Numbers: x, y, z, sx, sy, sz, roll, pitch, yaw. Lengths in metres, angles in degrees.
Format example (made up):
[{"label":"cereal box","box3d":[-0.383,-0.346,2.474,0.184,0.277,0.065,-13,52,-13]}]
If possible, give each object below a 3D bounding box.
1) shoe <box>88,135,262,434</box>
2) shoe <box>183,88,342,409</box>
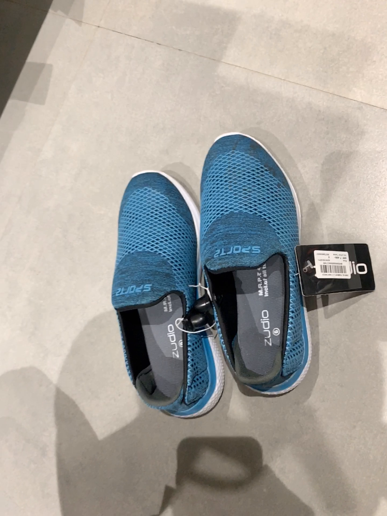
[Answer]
[{"label":"shoe","box3d":[-0.021,0.027,0.406,0.110,0.080,0.260,-15,78,20]},{"label":"shoe","box3d":[0.062,-0.005,0.359,0.090,0.080,0.250,-11,80,21]}]
